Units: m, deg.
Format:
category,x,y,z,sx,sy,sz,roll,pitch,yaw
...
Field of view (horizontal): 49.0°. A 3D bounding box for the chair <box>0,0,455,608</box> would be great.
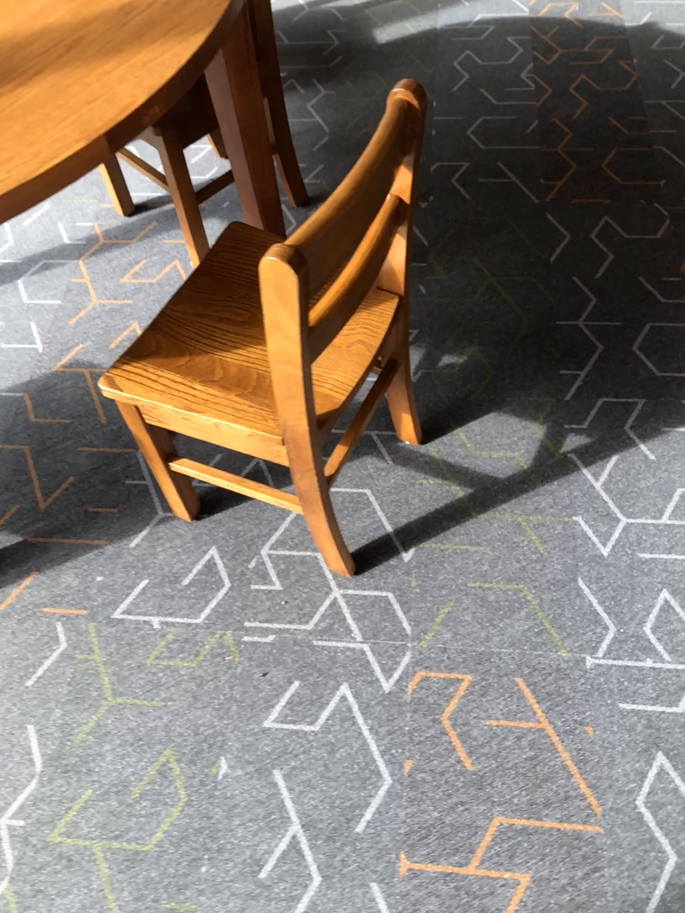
category,x,y,z,sx,sy,sz,roll,pitch,yaw
chair,-0.113,-0.156,1.016,0.391,0.666,0.371,18,60,17
